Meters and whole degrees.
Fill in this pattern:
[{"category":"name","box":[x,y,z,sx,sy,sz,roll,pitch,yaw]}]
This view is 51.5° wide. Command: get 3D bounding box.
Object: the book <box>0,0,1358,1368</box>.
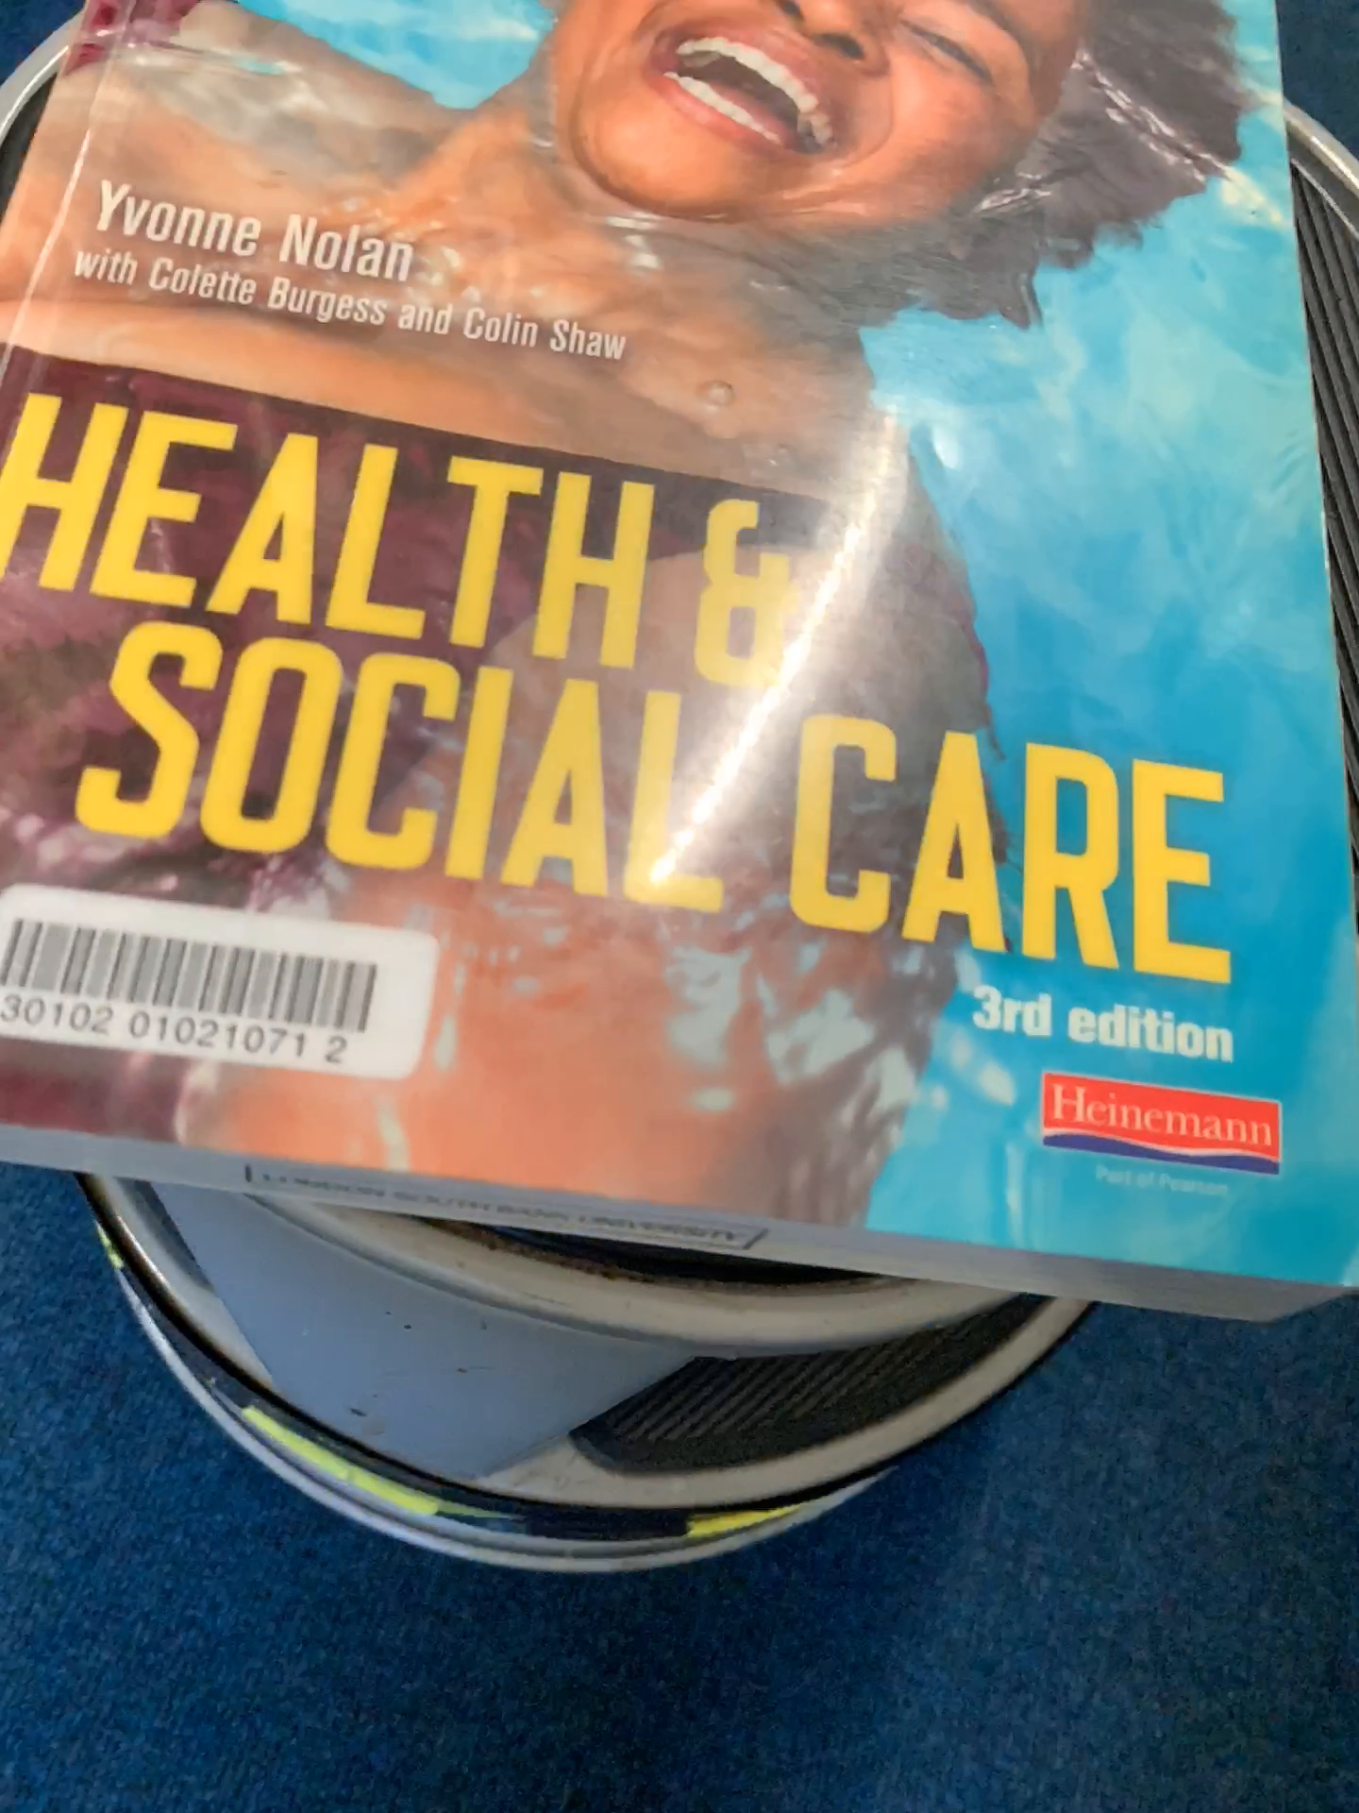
[{"category":"book","box":[-0.004,-0.085,0.204,0.200,0.030,0.271,7,69,-5]}]
